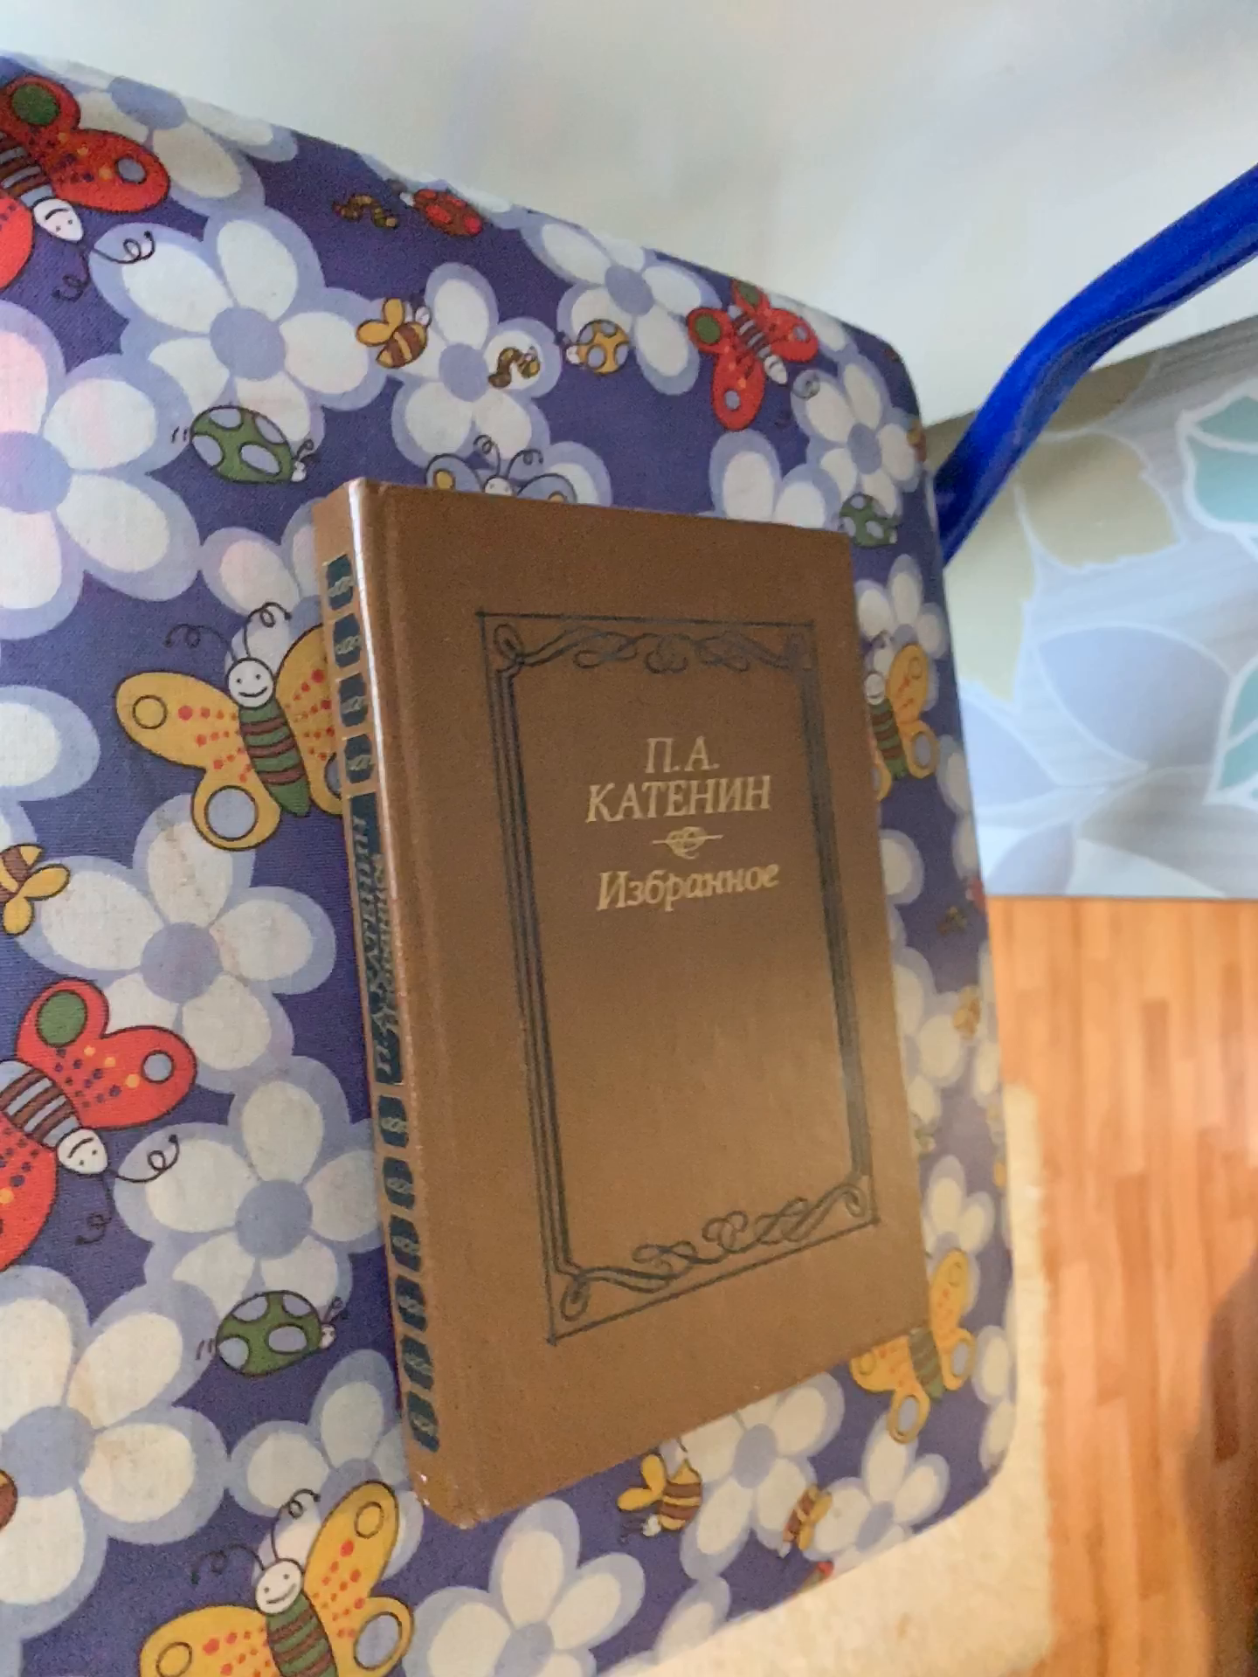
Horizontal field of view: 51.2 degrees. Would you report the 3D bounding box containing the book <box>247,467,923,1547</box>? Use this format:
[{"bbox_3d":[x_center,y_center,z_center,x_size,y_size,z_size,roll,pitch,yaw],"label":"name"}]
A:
[{"bbox_3d":[-0.001,0.022,0.251,0.124,0.020,0.170,-6,90,-38],"label":"book"}]
